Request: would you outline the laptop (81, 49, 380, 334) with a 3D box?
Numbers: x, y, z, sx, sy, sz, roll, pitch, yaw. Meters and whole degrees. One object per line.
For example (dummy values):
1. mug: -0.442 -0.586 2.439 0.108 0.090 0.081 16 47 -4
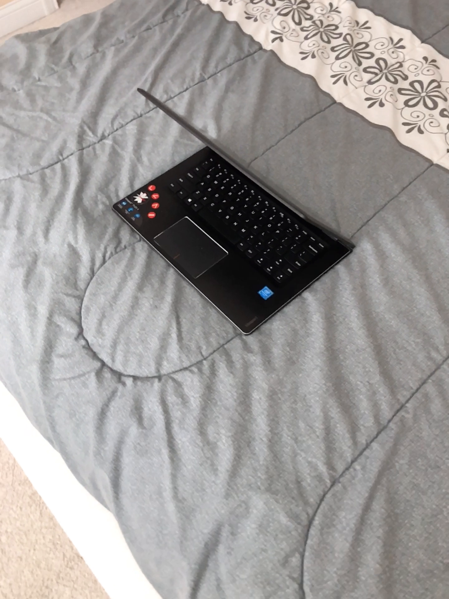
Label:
1. laptop: 0.003 -0.155 0.673 0.214 0.168 0.305 -37 64 -20
